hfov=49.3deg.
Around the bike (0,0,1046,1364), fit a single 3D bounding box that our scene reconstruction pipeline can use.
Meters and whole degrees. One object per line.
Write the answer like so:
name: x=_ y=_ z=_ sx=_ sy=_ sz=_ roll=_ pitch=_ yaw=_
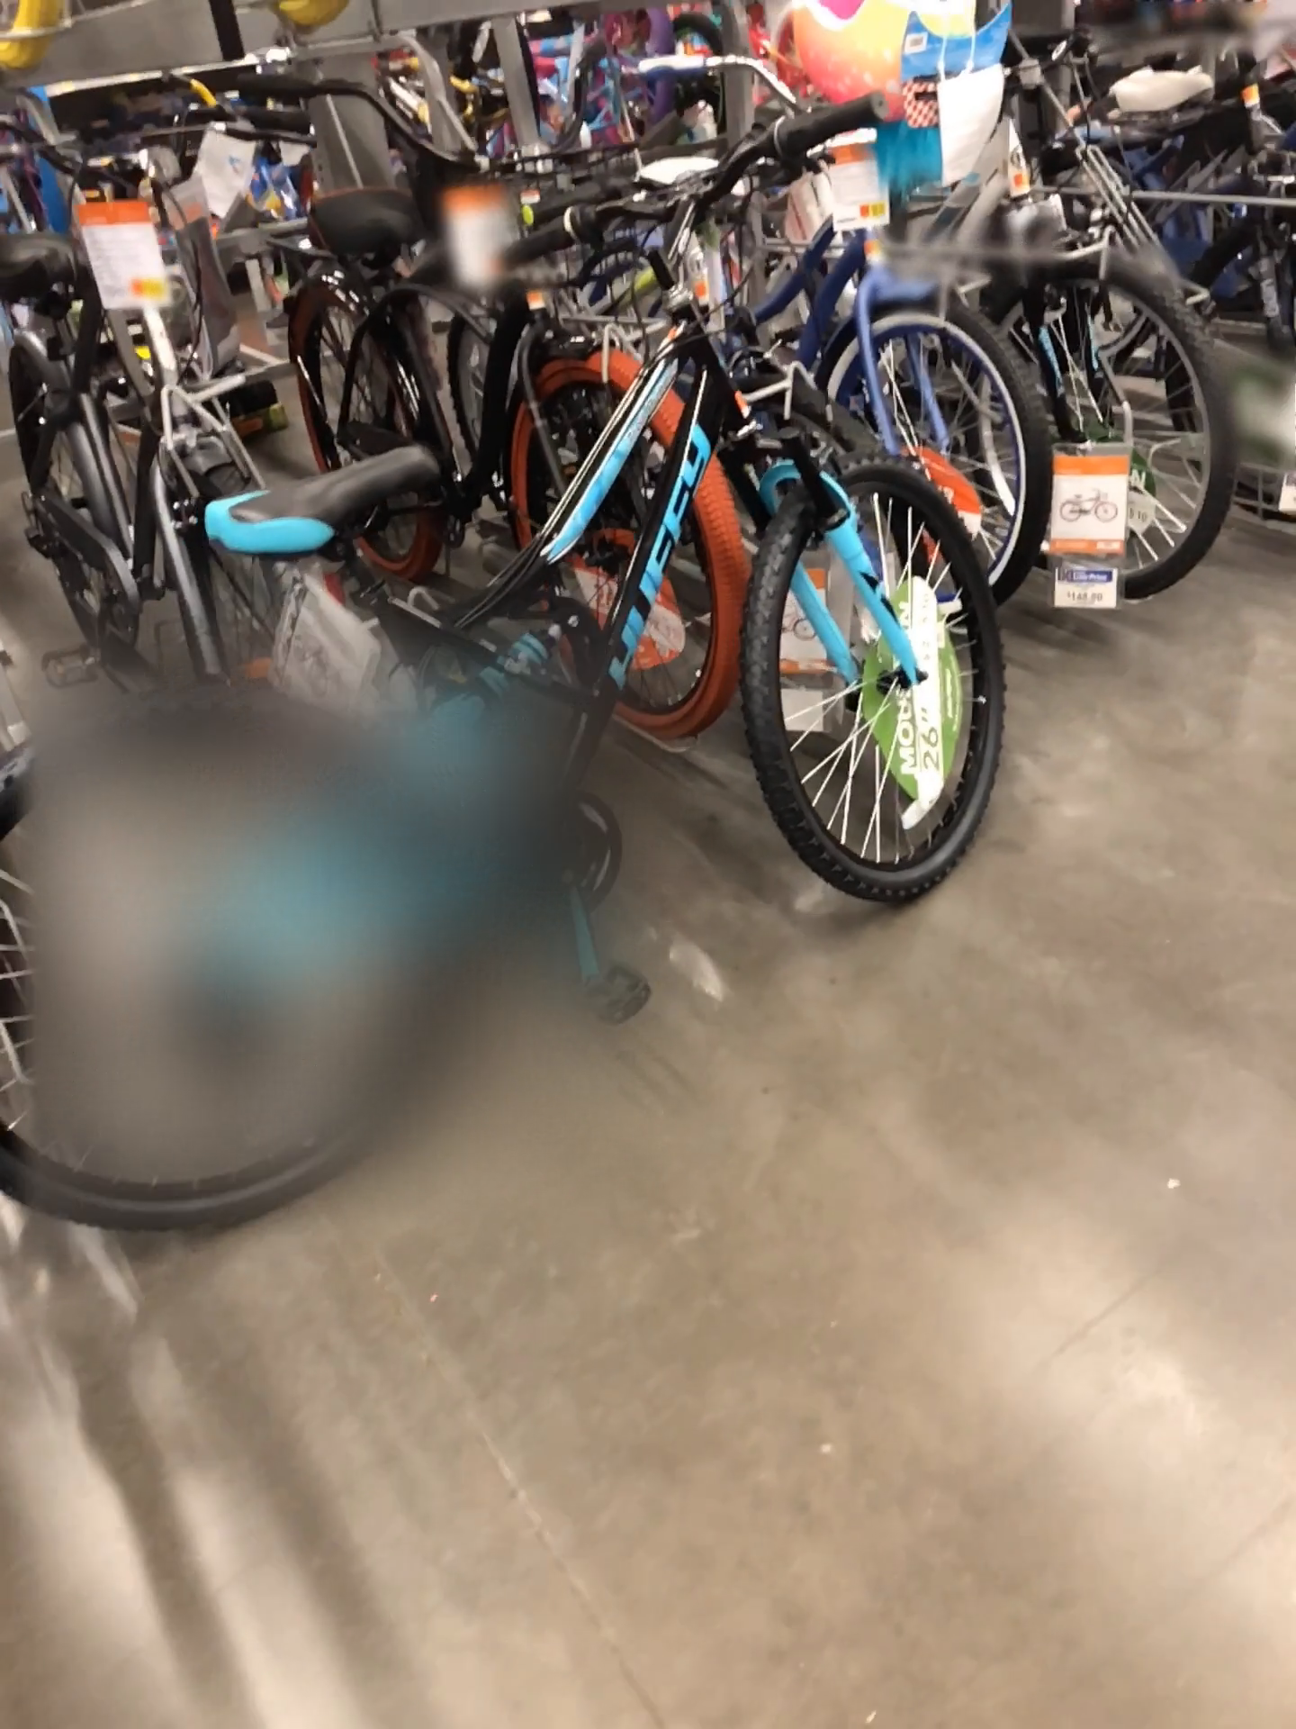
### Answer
bike: x=-0.225 y=-0.390 z=1.928 sx=1.708 sy=1.120 sz=0.546 roll=-29 pitch=39 yaw=-27
